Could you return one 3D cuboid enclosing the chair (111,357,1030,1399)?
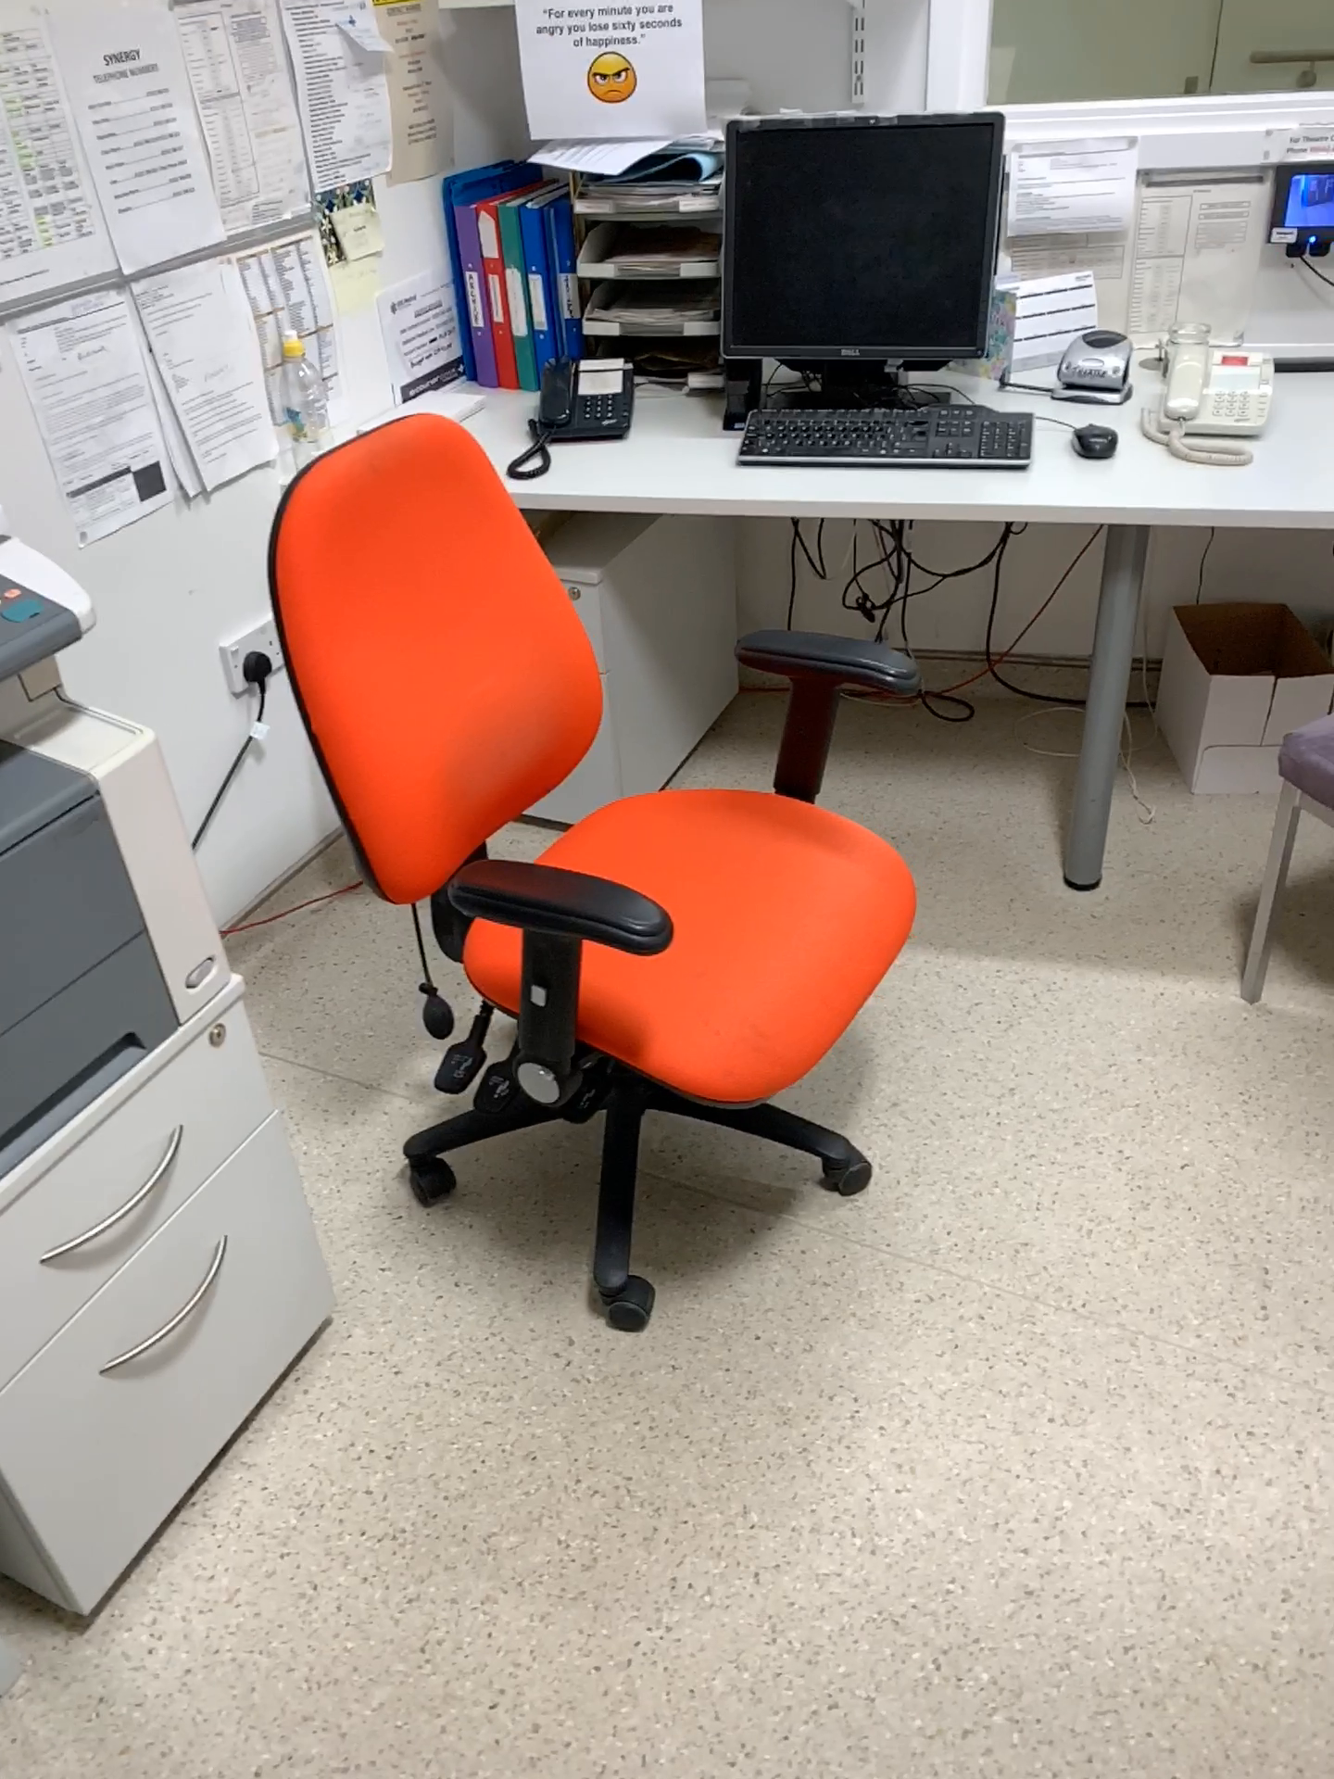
[{"bbox_3d":[-0.053,-0.063,1.631,0.687,0.892,0.655,18,41,28],"label":"chair"}]
